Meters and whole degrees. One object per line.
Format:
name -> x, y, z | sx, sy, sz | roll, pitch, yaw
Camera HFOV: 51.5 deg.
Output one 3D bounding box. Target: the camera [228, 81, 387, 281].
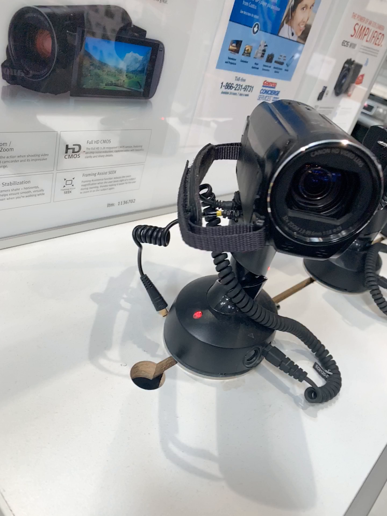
camera -> 0.051, -0.050, 0.211 | 0.050, 0.050, 0.126 | 14, 32, -6
